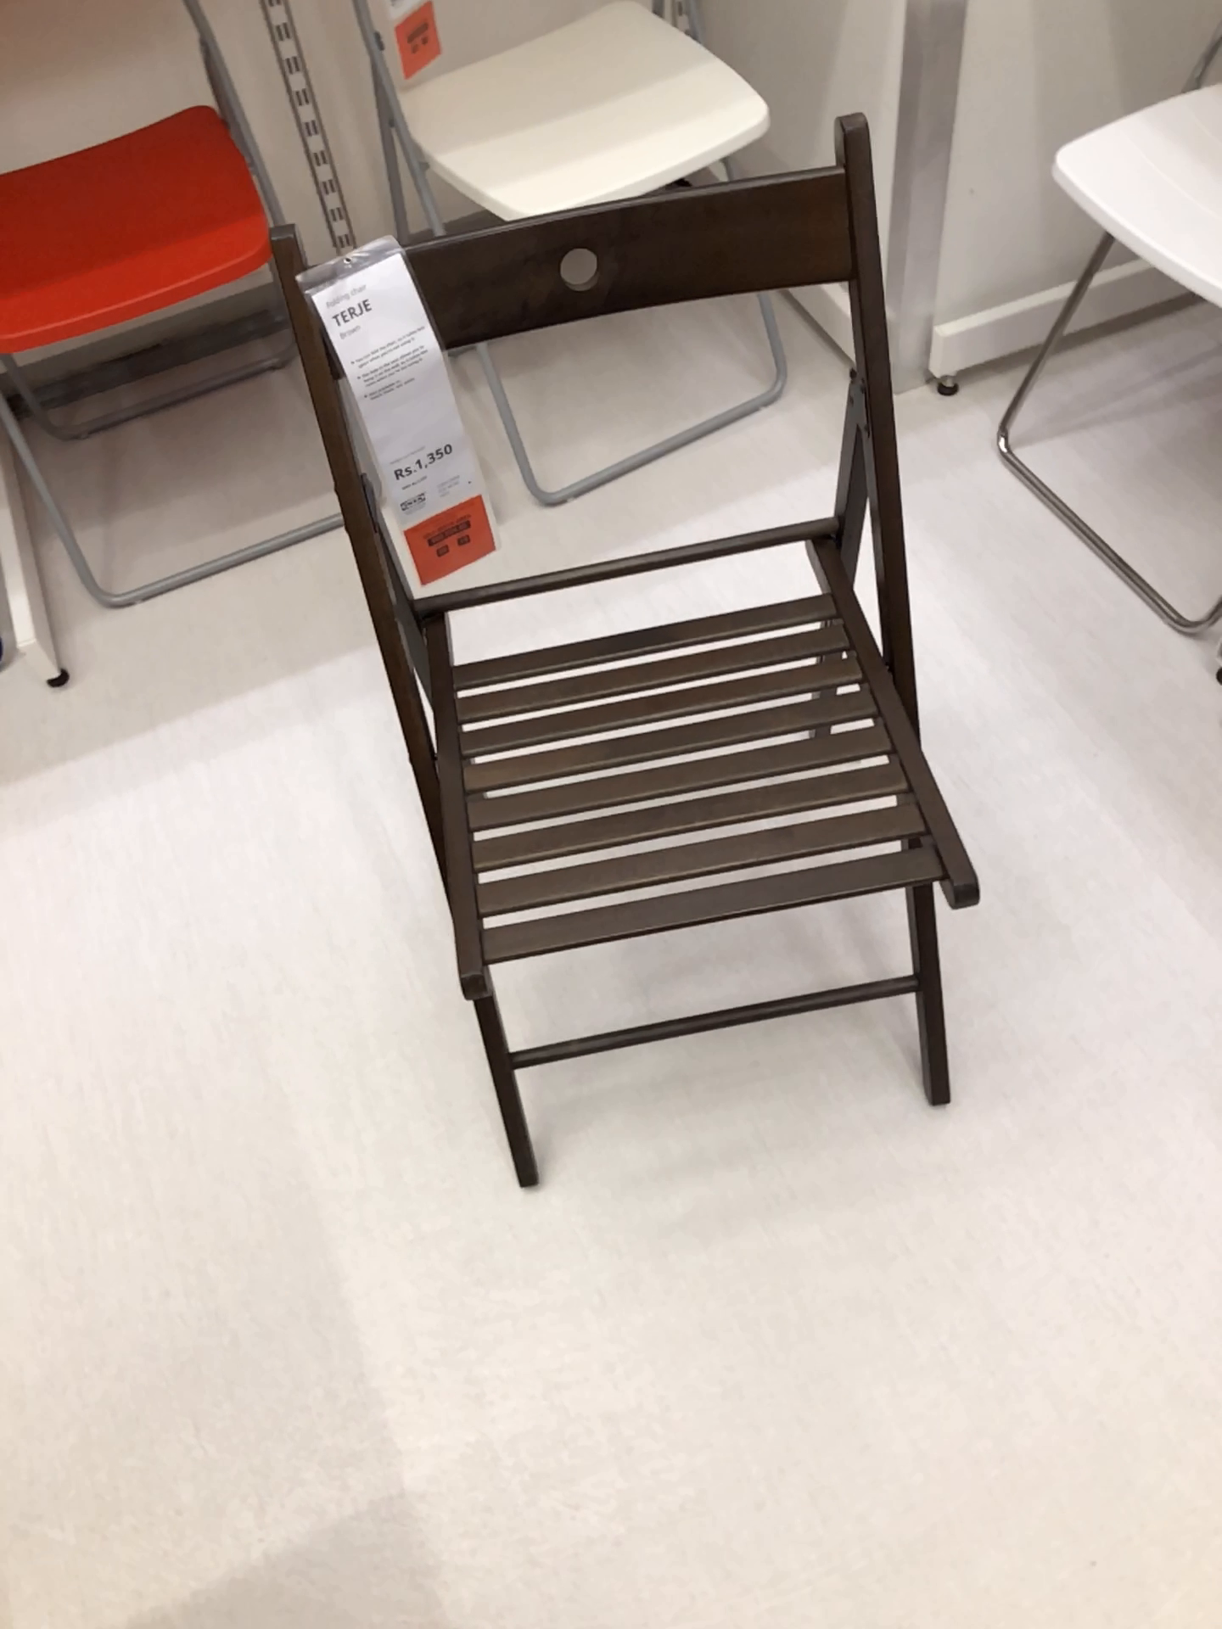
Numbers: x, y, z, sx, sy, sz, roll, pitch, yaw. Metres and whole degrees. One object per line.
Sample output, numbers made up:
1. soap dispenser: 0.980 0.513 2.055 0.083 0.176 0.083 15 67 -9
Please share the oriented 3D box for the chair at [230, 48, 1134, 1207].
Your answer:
1. chair: 0.035 -0.086 1.133 0.460 0.776 0.503 -11 55 -1
